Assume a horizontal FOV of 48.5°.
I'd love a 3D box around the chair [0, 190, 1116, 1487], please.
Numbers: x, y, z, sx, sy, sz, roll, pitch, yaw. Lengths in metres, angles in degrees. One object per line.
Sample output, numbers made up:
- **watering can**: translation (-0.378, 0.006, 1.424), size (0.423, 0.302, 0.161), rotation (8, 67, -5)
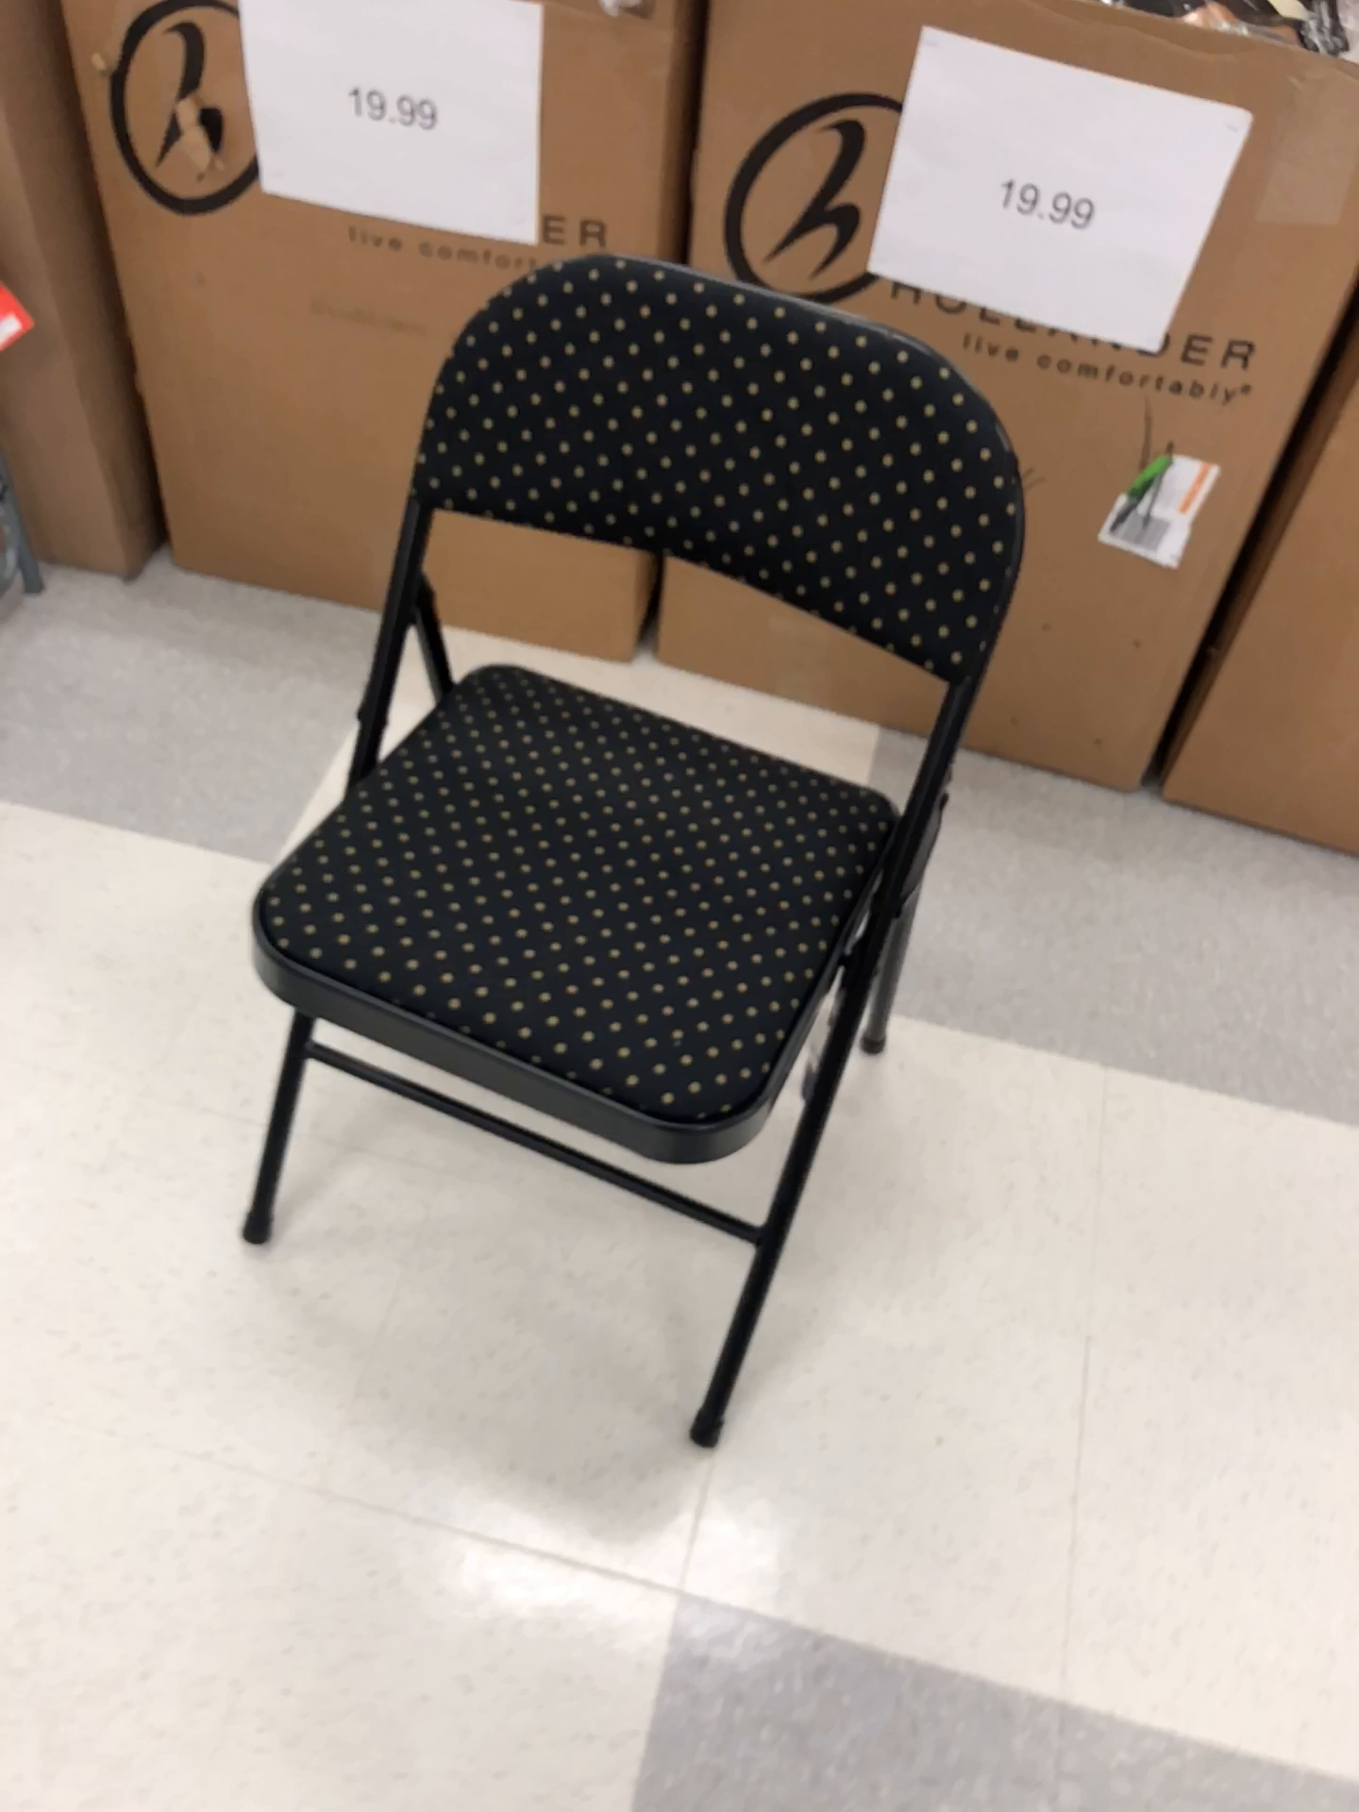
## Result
- **chair**: translation (-0.059, -0.025, 1.174), size (0.484, 0.730, 0.541), rotation (20, 51, 12)
